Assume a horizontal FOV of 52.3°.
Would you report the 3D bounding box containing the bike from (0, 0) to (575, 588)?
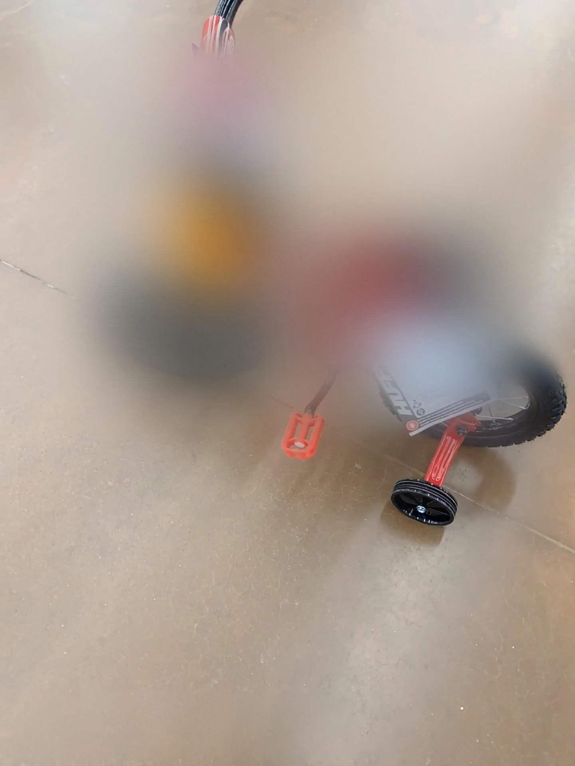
[{"bbox_3d":[0.045,-0.145,0.738,0.735,0.605,0.441,14,56,7],"label":"bike"}]
